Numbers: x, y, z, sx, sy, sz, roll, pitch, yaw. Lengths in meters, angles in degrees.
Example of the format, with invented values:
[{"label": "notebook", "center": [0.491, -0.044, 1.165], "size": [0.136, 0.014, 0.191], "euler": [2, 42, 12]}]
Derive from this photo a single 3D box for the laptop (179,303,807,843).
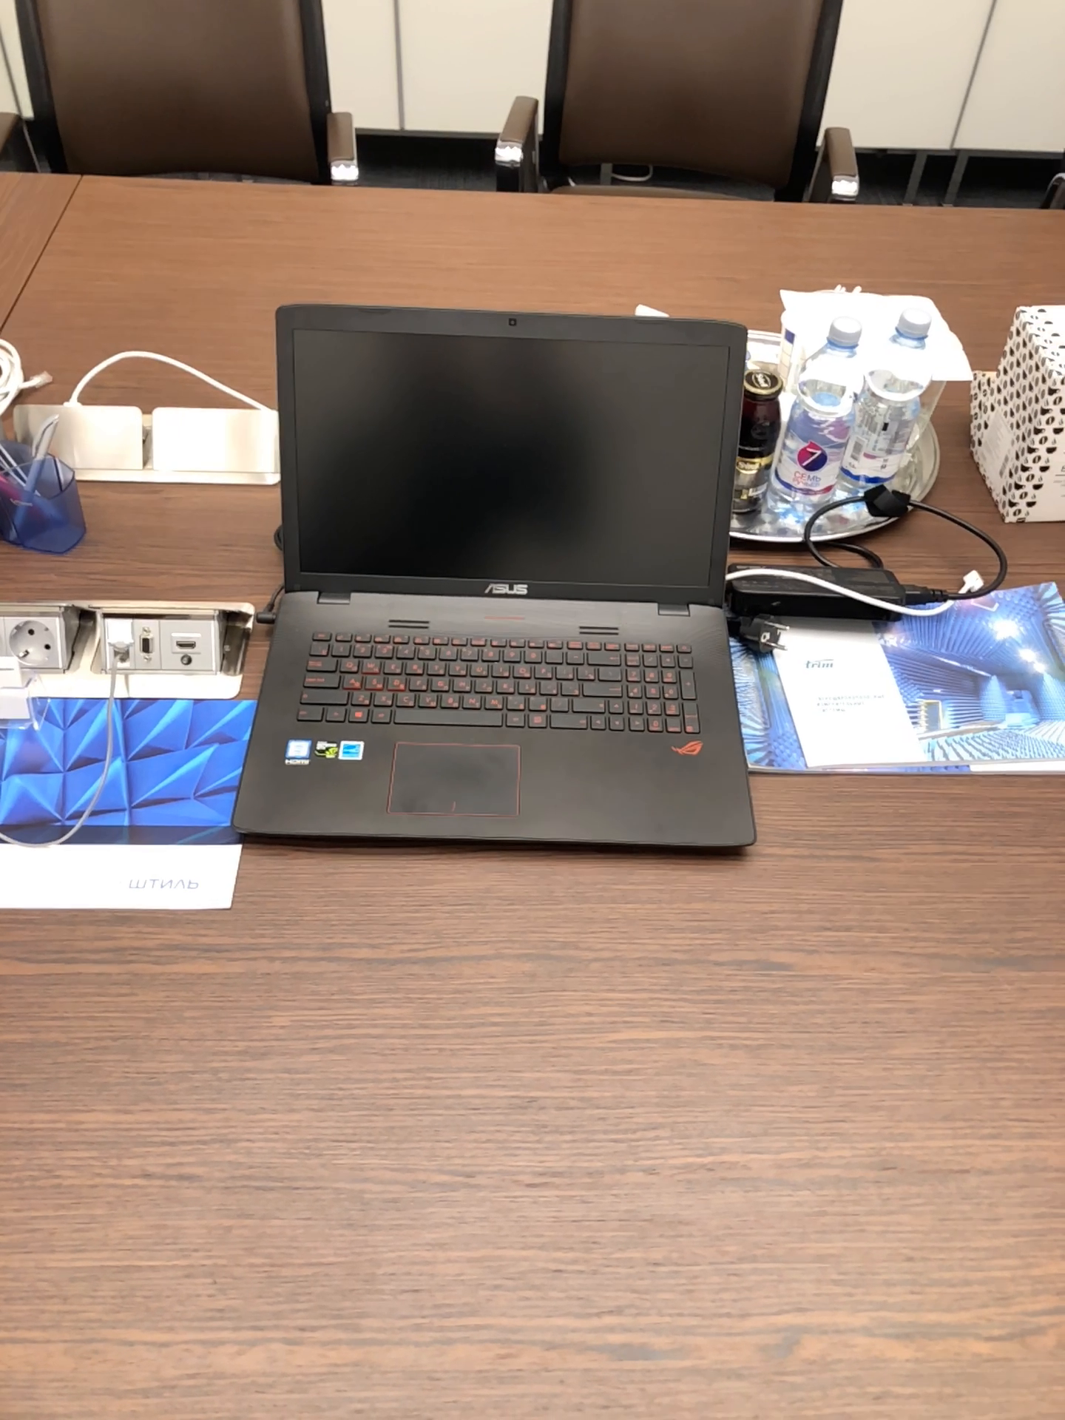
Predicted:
[{"label": "laptop", "center": [-0.025, -0.115, 0.898], "size": [0.379, 0.194, 0.370], "euler": [2, 49, -2]}]
